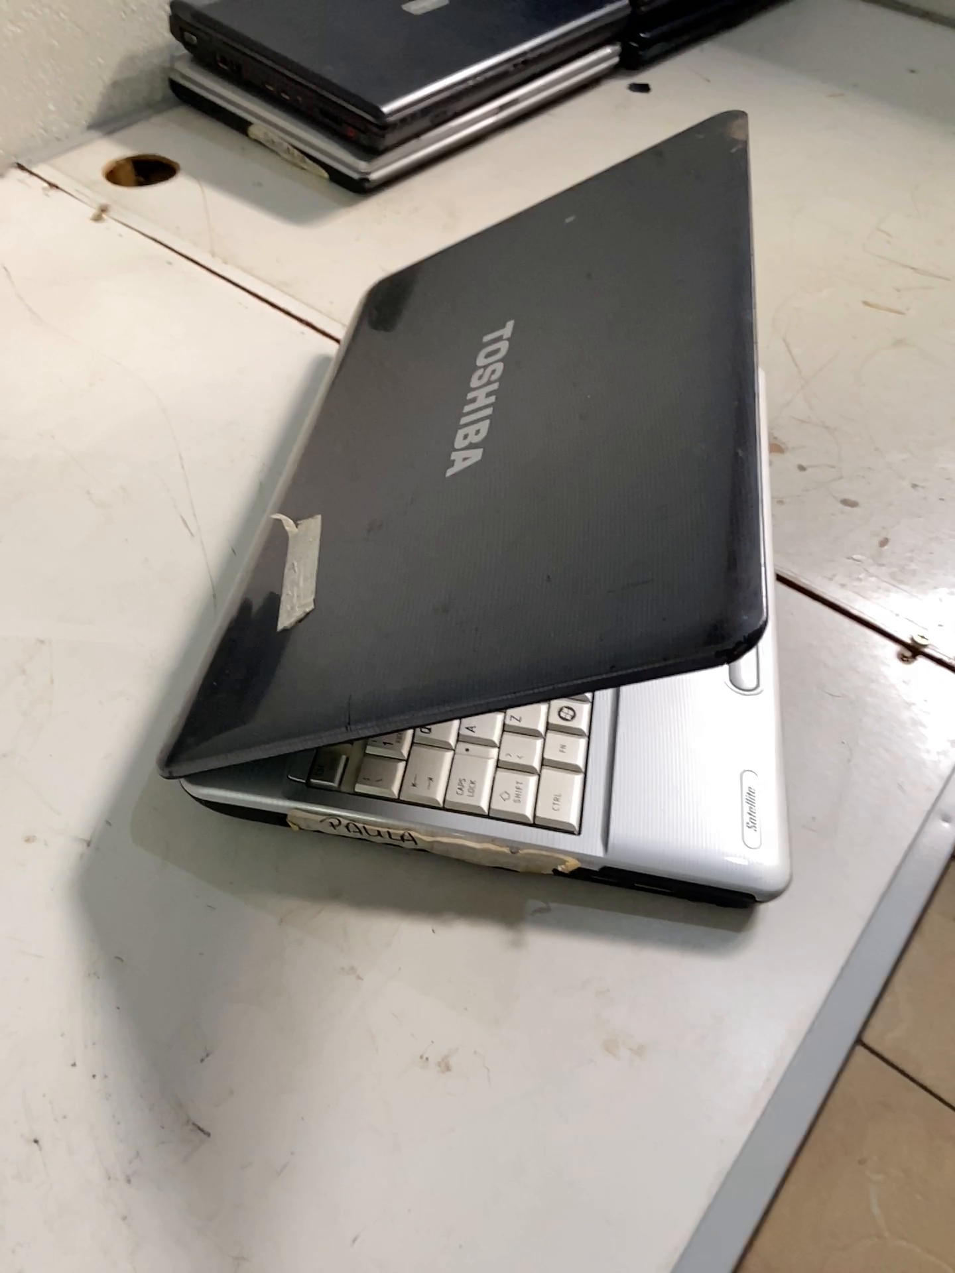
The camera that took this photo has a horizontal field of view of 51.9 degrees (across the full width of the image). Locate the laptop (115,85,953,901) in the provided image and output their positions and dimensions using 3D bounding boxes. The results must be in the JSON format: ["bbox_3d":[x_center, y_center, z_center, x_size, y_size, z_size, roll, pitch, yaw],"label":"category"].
[{"bbox_3d":[0.037,-0.100,0.472,0.255,0.143,0.373,9,49,3],"label":"laptop"}]
